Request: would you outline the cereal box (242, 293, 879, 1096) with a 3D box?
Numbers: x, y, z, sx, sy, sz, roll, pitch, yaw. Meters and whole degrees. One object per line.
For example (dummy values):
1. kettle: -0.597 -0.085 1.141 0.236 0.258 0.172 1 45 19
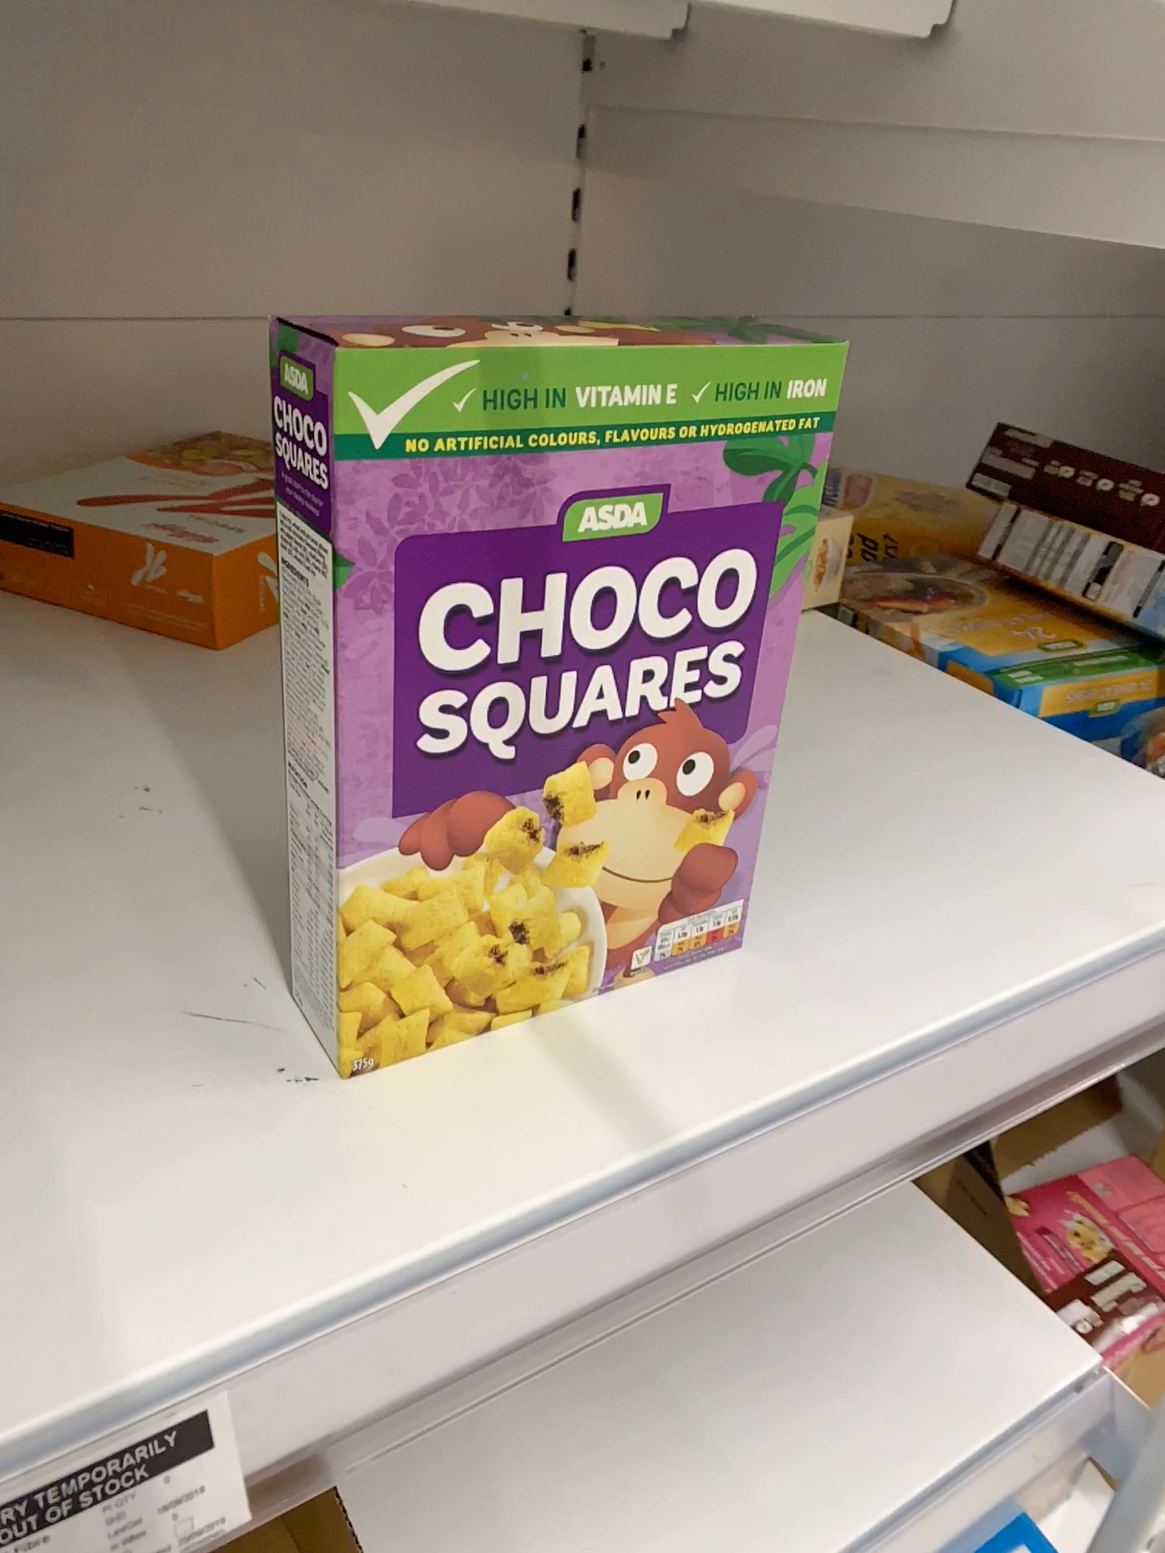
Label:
1. cereal box: -0.011 -0.031 0.421 0.191 0.248 0.060 -12 32 -30
